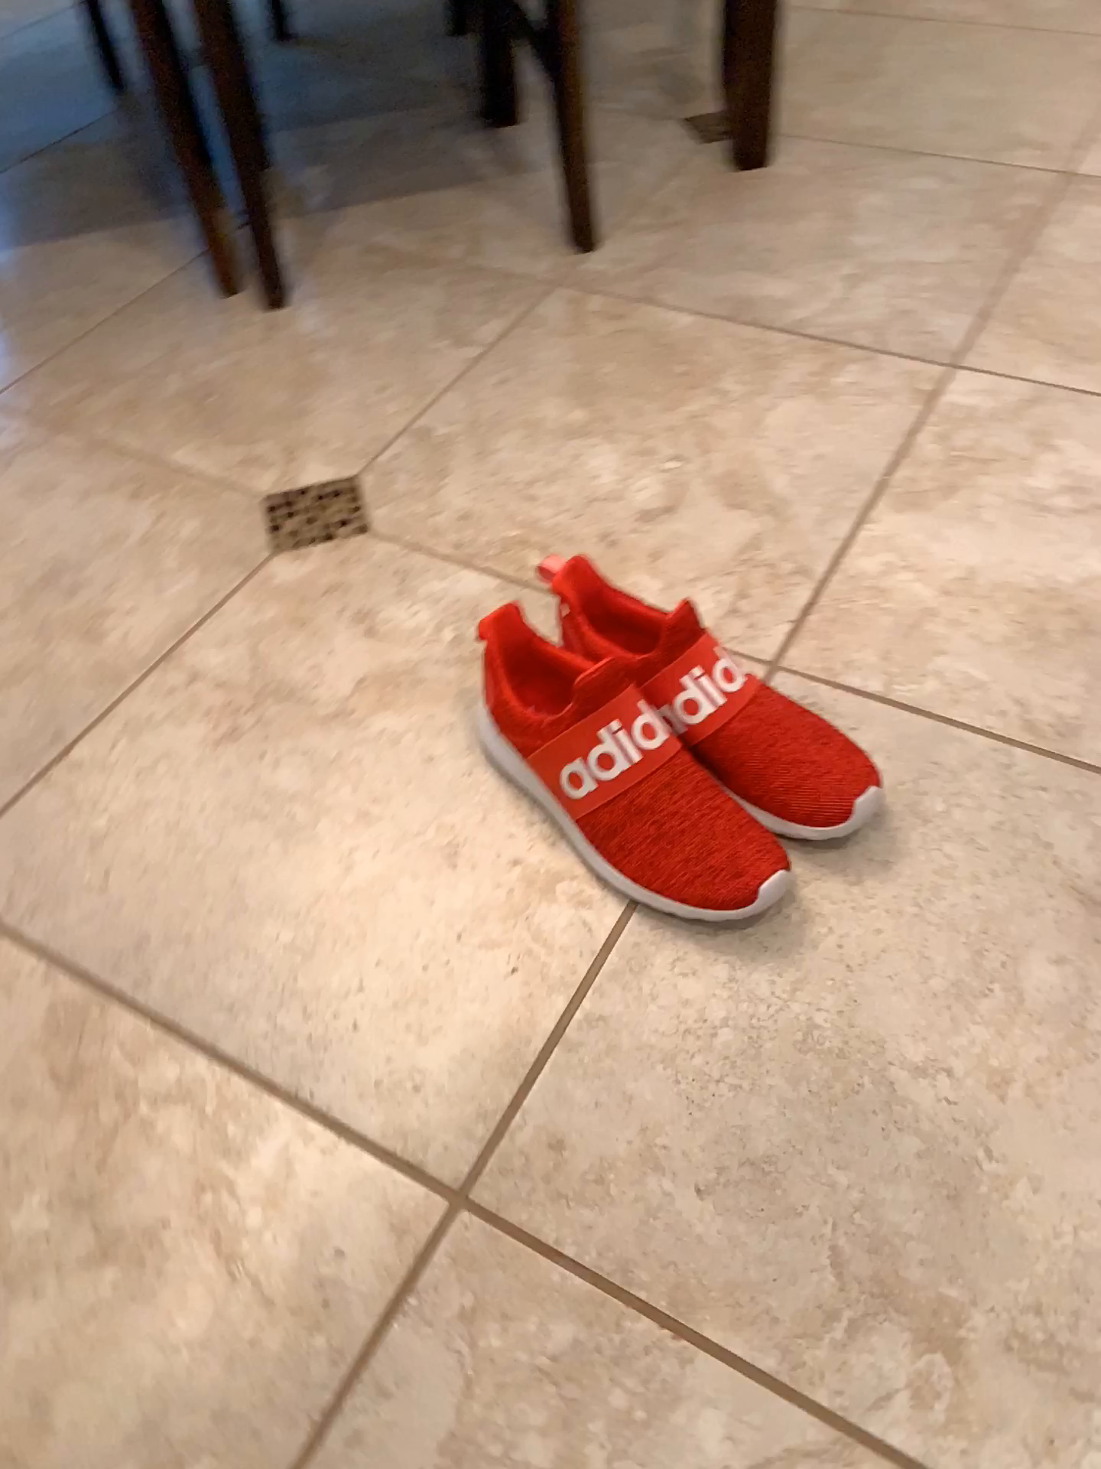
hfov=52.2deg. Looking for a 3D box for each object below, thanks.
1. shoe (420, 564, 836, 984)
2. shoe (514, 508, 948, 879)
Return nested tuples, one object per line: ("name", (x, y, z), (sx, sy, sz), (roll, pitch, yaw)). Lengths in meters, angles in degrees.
("shoe", (0.048, 0.018, 0.825), (0.117, 0.119, 0.301), (-34, 54, -21))
("shoe", (0.127, -0.040, 0.860), (0.301, 0.119, 0.118), (32, 59, 29))
